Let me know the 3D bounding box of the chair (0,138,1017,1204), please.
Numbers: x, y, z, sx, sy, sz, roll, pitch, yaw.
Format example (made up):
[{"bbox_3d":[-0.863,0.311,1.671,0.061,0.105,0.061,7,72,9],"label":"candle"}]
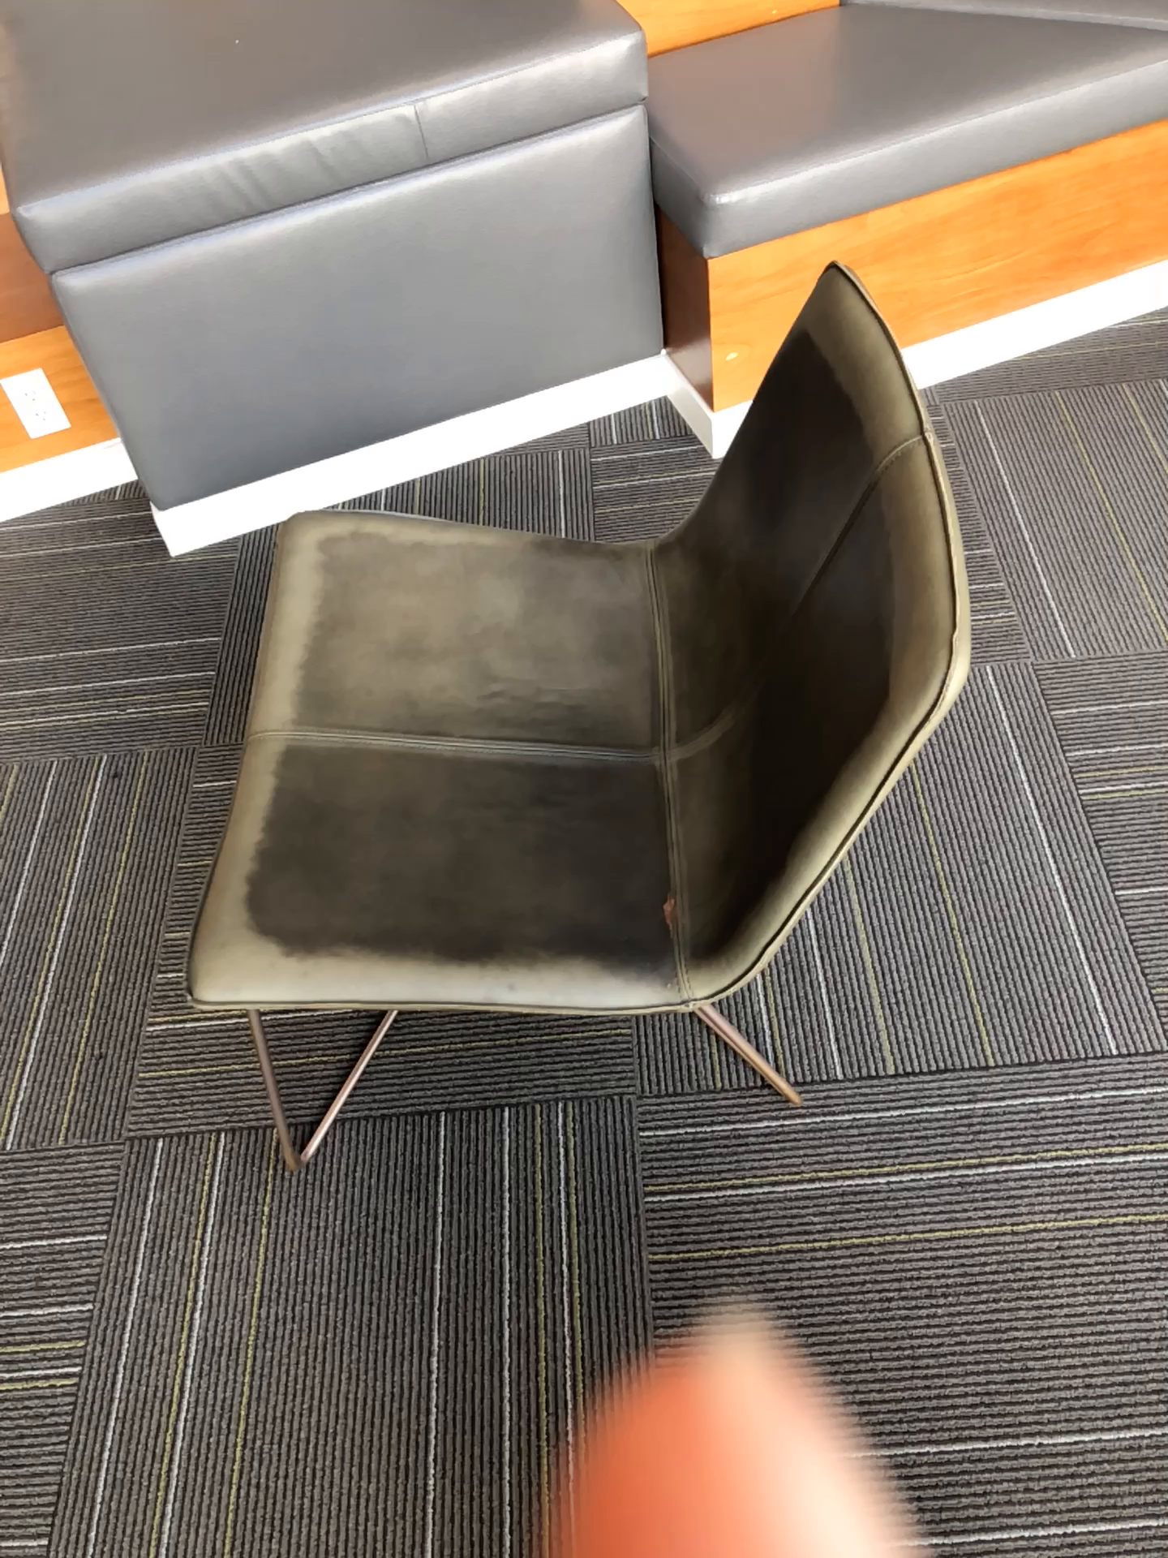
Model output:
[{"bbox_3d":[-0.069,-0.066,1.341,0.650,0.877,0.672,-1,50,-1],"label":"chair"}]
